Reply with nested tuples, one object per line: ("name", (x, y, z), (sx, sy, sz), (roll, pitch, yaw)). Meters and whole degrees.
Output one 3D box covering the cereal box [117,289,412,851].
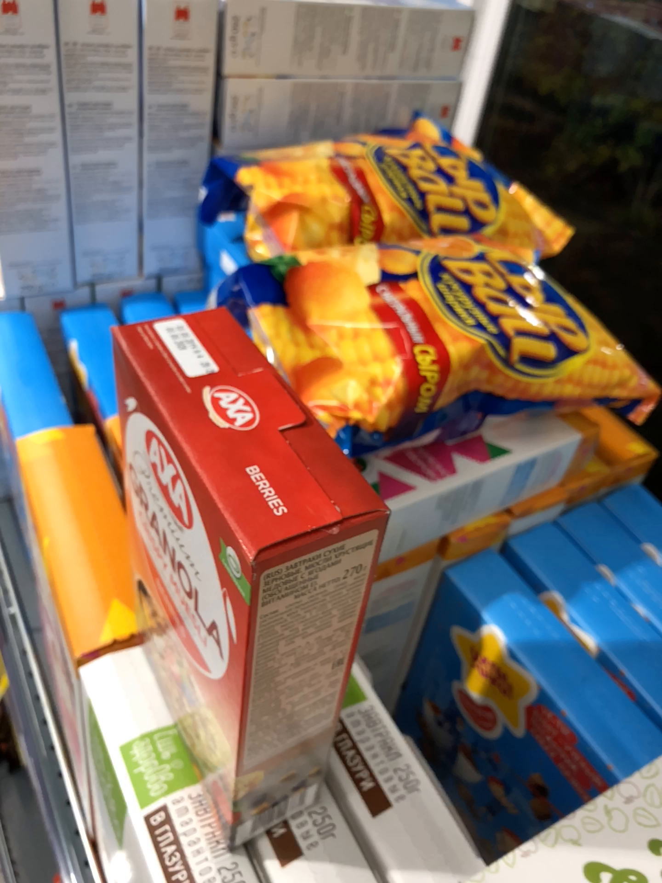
("cereal box", (-0.042, 0.065, 0.329), (0.050, 0.219, 0.130), (-16, 48, -26))
